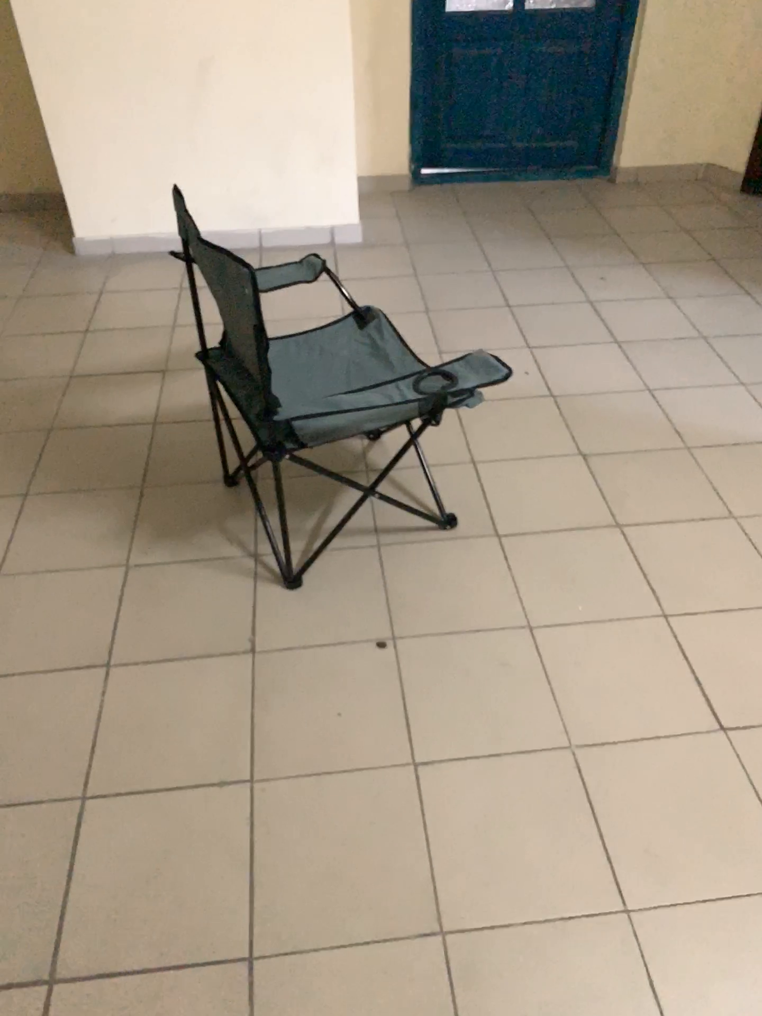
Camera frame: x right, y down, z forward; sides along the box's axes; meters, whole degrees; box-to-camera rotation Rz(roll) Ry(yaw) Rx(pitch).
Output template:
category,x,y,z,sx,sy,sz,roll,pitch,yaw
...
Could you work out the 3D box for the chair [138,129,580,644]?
category,x,y,z,sx,sy,sz,roll,pitch,yaw
chair,-0.086,-0.318,1.786,0.560,0.756,0.804,-20,44,-21
